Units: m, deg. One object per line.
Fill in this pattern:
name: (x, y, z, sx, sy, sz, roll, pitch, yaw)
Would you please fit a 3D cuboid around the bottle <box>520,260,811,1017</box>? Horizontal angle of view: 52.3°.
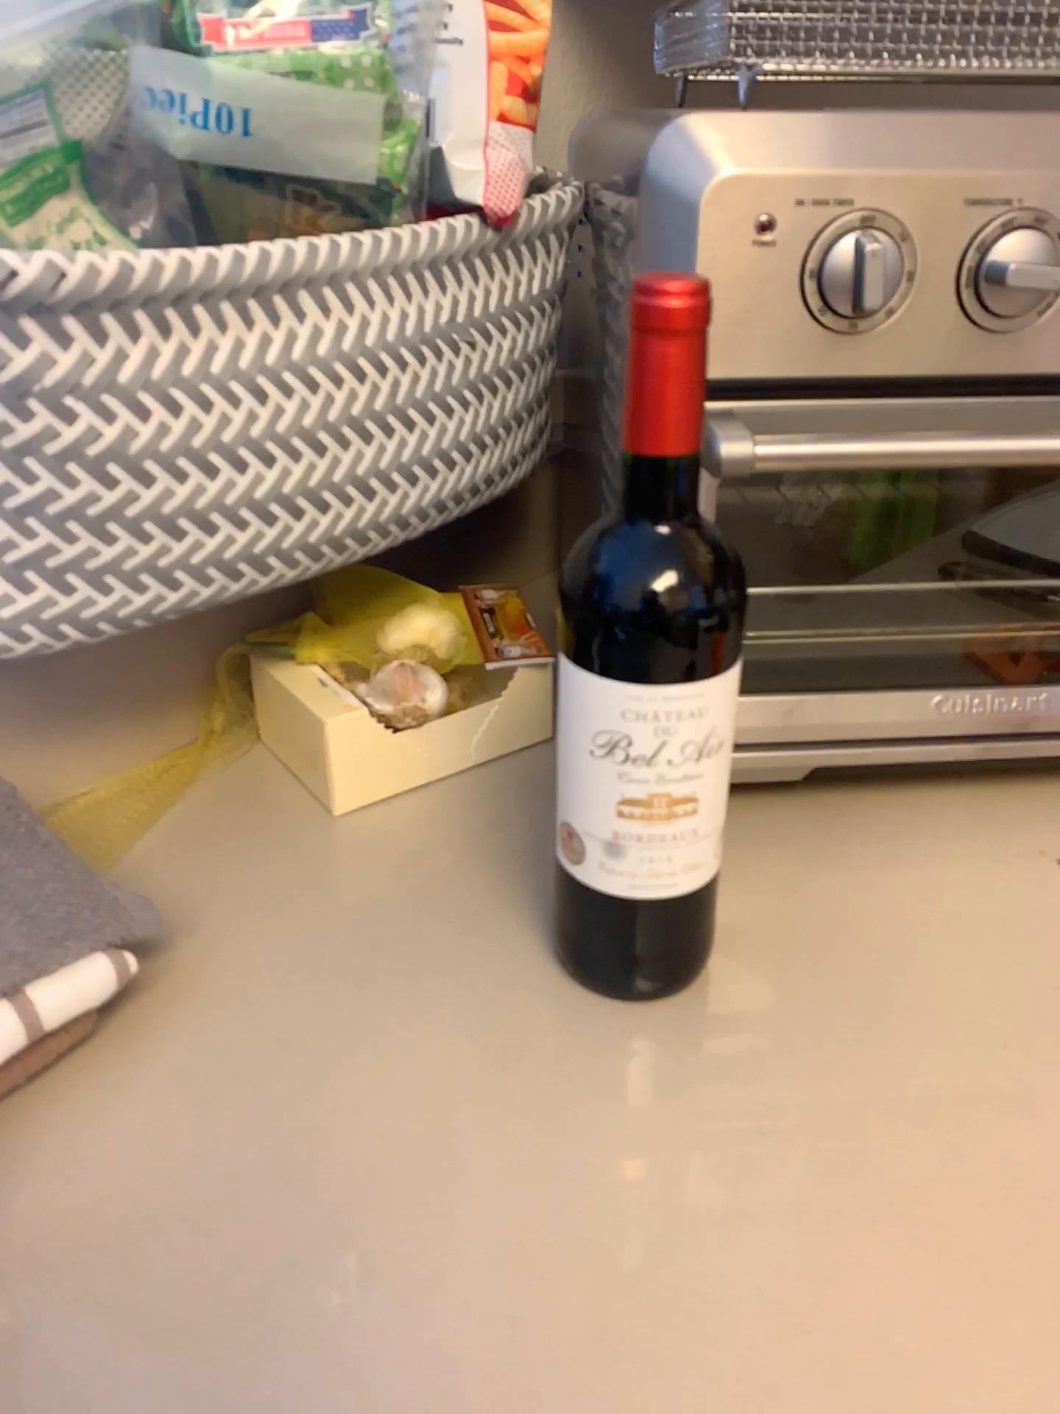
bottle: (0.042, -0.018, 0.431, 0.080, 0.288, 0.081, 0, 28, 0)
